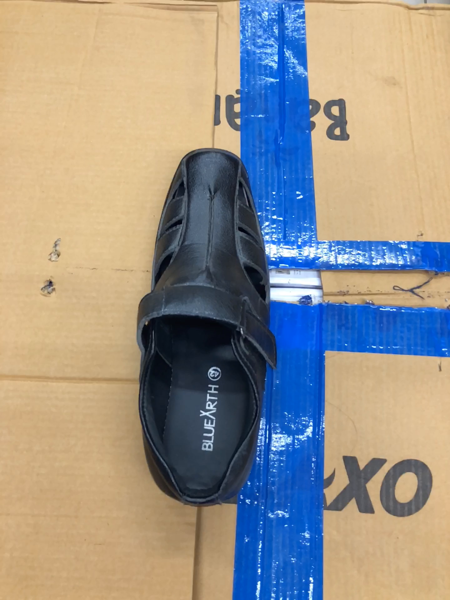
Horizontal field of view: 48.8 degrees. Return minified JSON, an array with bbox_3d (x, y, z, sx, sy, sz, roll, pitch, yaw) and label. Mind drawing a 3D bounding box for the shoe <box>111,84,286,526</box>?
[{"bbox_3d":[-0.016,-0.002,0.374,0.100,0.100,0.300,0,74,-1],"label":"shoe"}]
